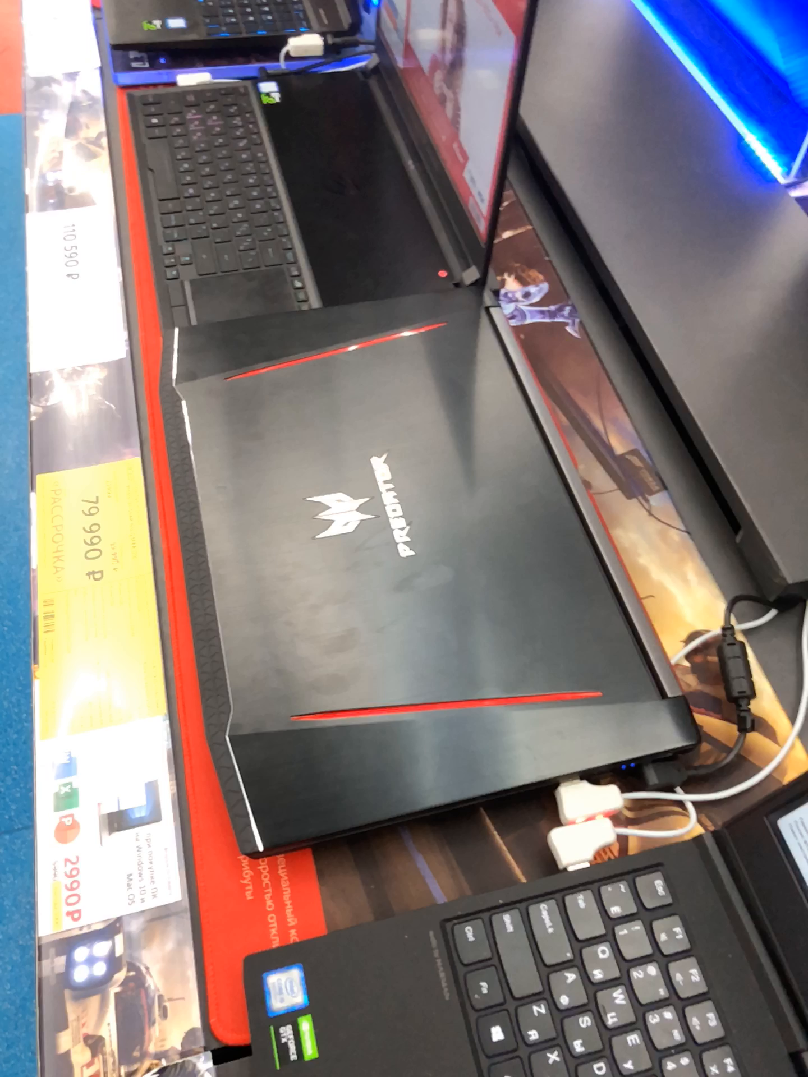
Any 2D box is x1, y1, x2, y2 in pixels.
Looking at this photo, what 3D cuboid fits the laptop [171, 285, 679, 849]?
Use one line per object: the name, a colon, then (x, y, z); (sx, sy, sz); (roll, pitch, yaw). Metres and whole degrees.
laptop: (-0.011, -0.021, 0.557); (0.228, 0.004, 0.378); (-10, 57, -10)
